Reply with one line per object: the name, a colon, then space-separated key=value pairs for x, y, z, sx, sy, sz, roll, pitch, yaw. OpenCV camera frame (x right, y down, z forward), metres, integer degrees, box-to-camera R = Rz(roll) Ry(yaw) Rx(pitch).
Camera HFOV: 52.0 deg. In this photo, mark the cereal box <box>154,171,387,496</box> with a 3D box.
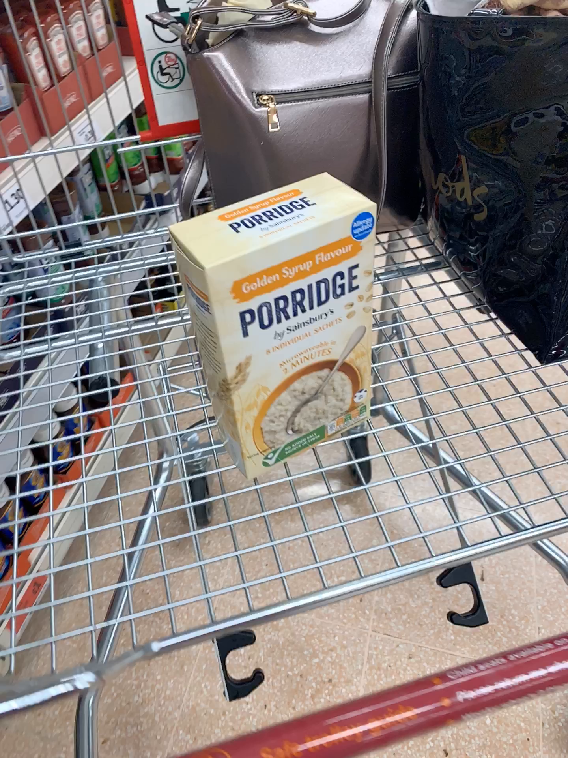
cereal box: x=-0.002 y=-0.026 z=0.441 sx=0.130 sy=0.208 sz=0.070 roll=-25 pitch=48 yaw=-19
